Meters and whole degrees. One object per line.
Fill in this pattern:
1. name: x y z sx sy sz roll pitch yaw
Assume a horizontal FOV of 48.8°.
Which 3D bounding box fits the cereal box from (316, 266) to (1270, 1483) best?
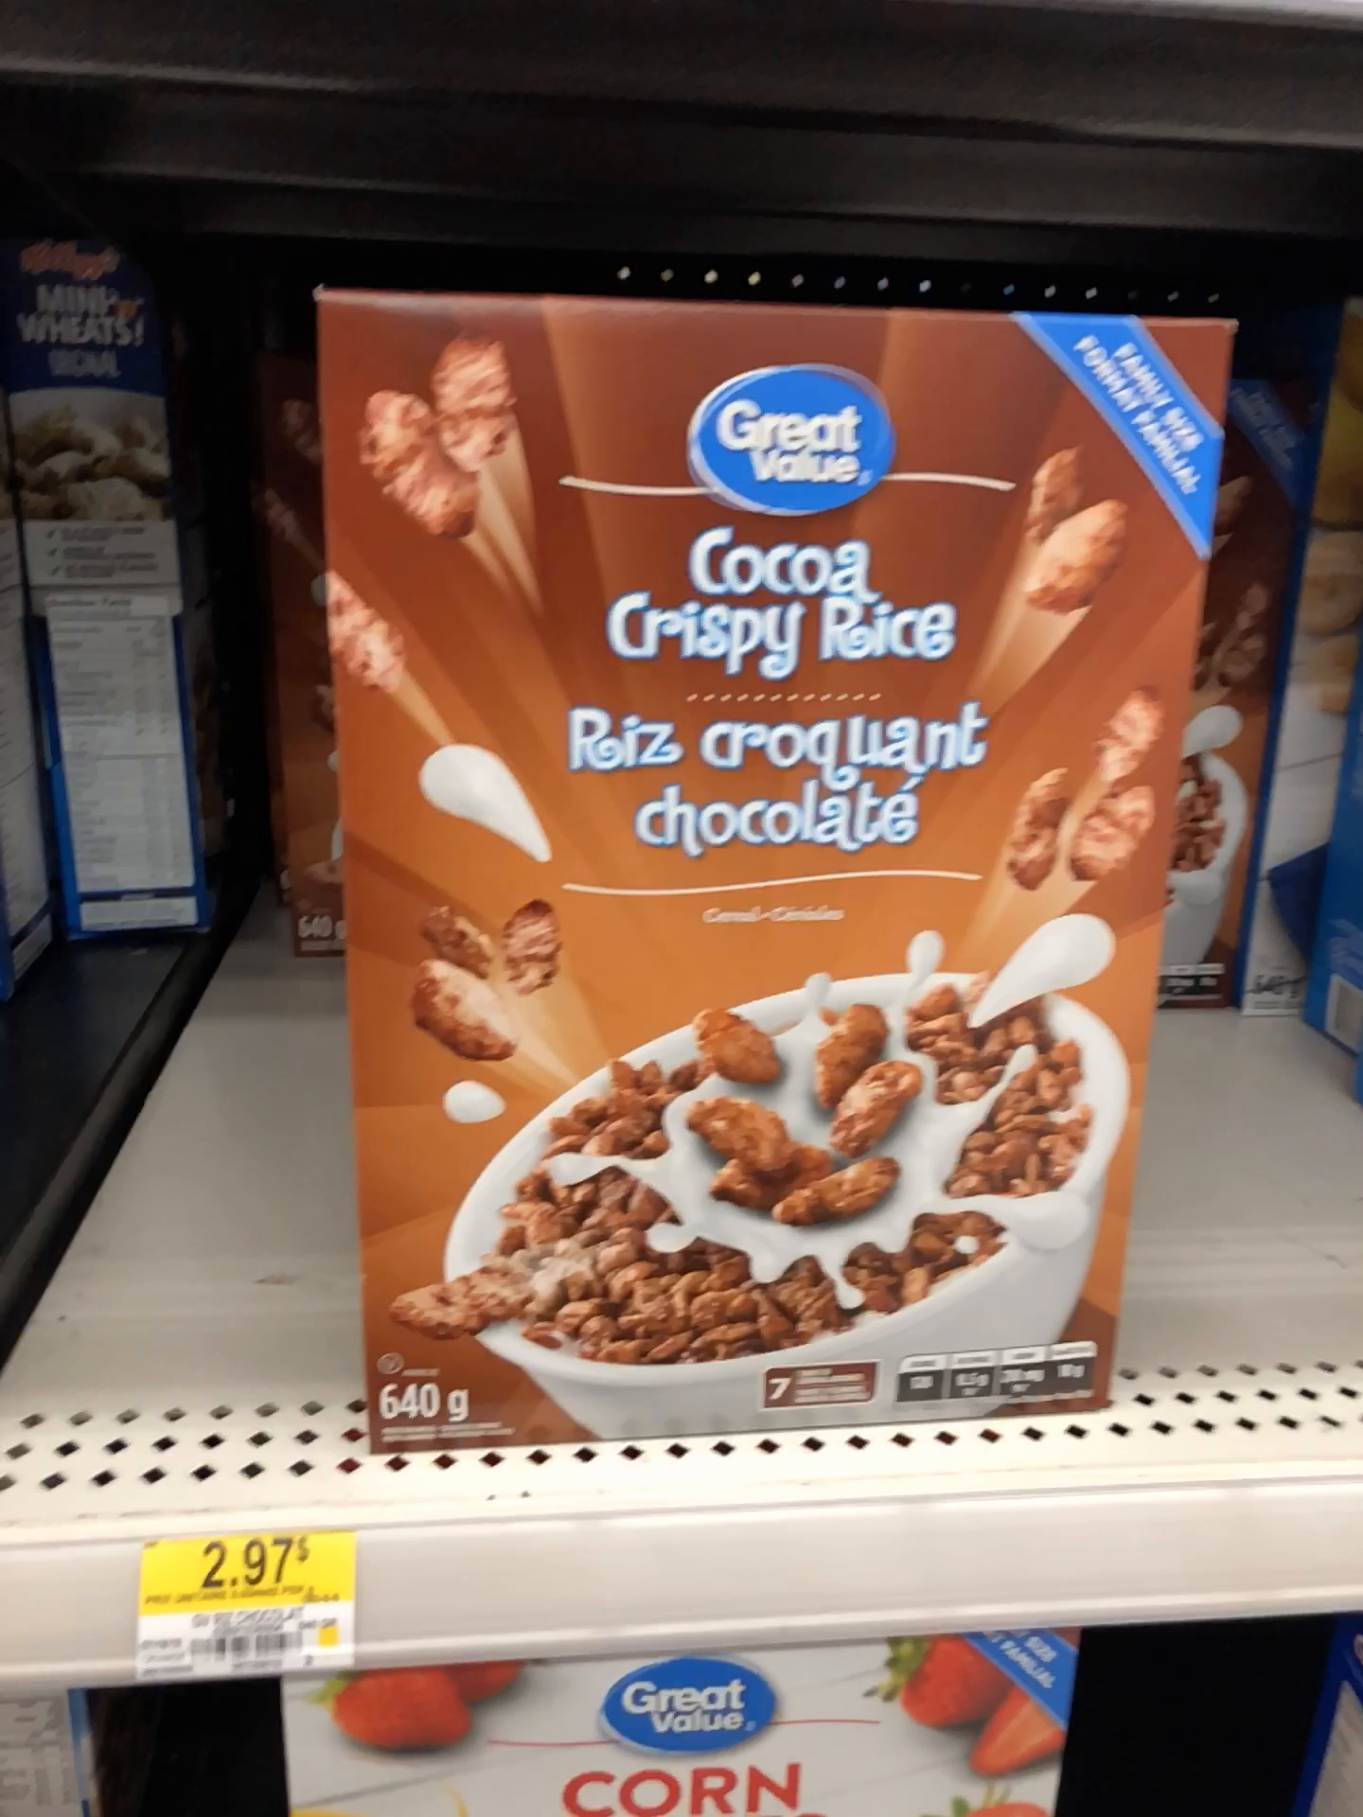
1. cereal box: 0.021 -0.005 0.406 0.210 0.298 0.080 -1 17 -7
